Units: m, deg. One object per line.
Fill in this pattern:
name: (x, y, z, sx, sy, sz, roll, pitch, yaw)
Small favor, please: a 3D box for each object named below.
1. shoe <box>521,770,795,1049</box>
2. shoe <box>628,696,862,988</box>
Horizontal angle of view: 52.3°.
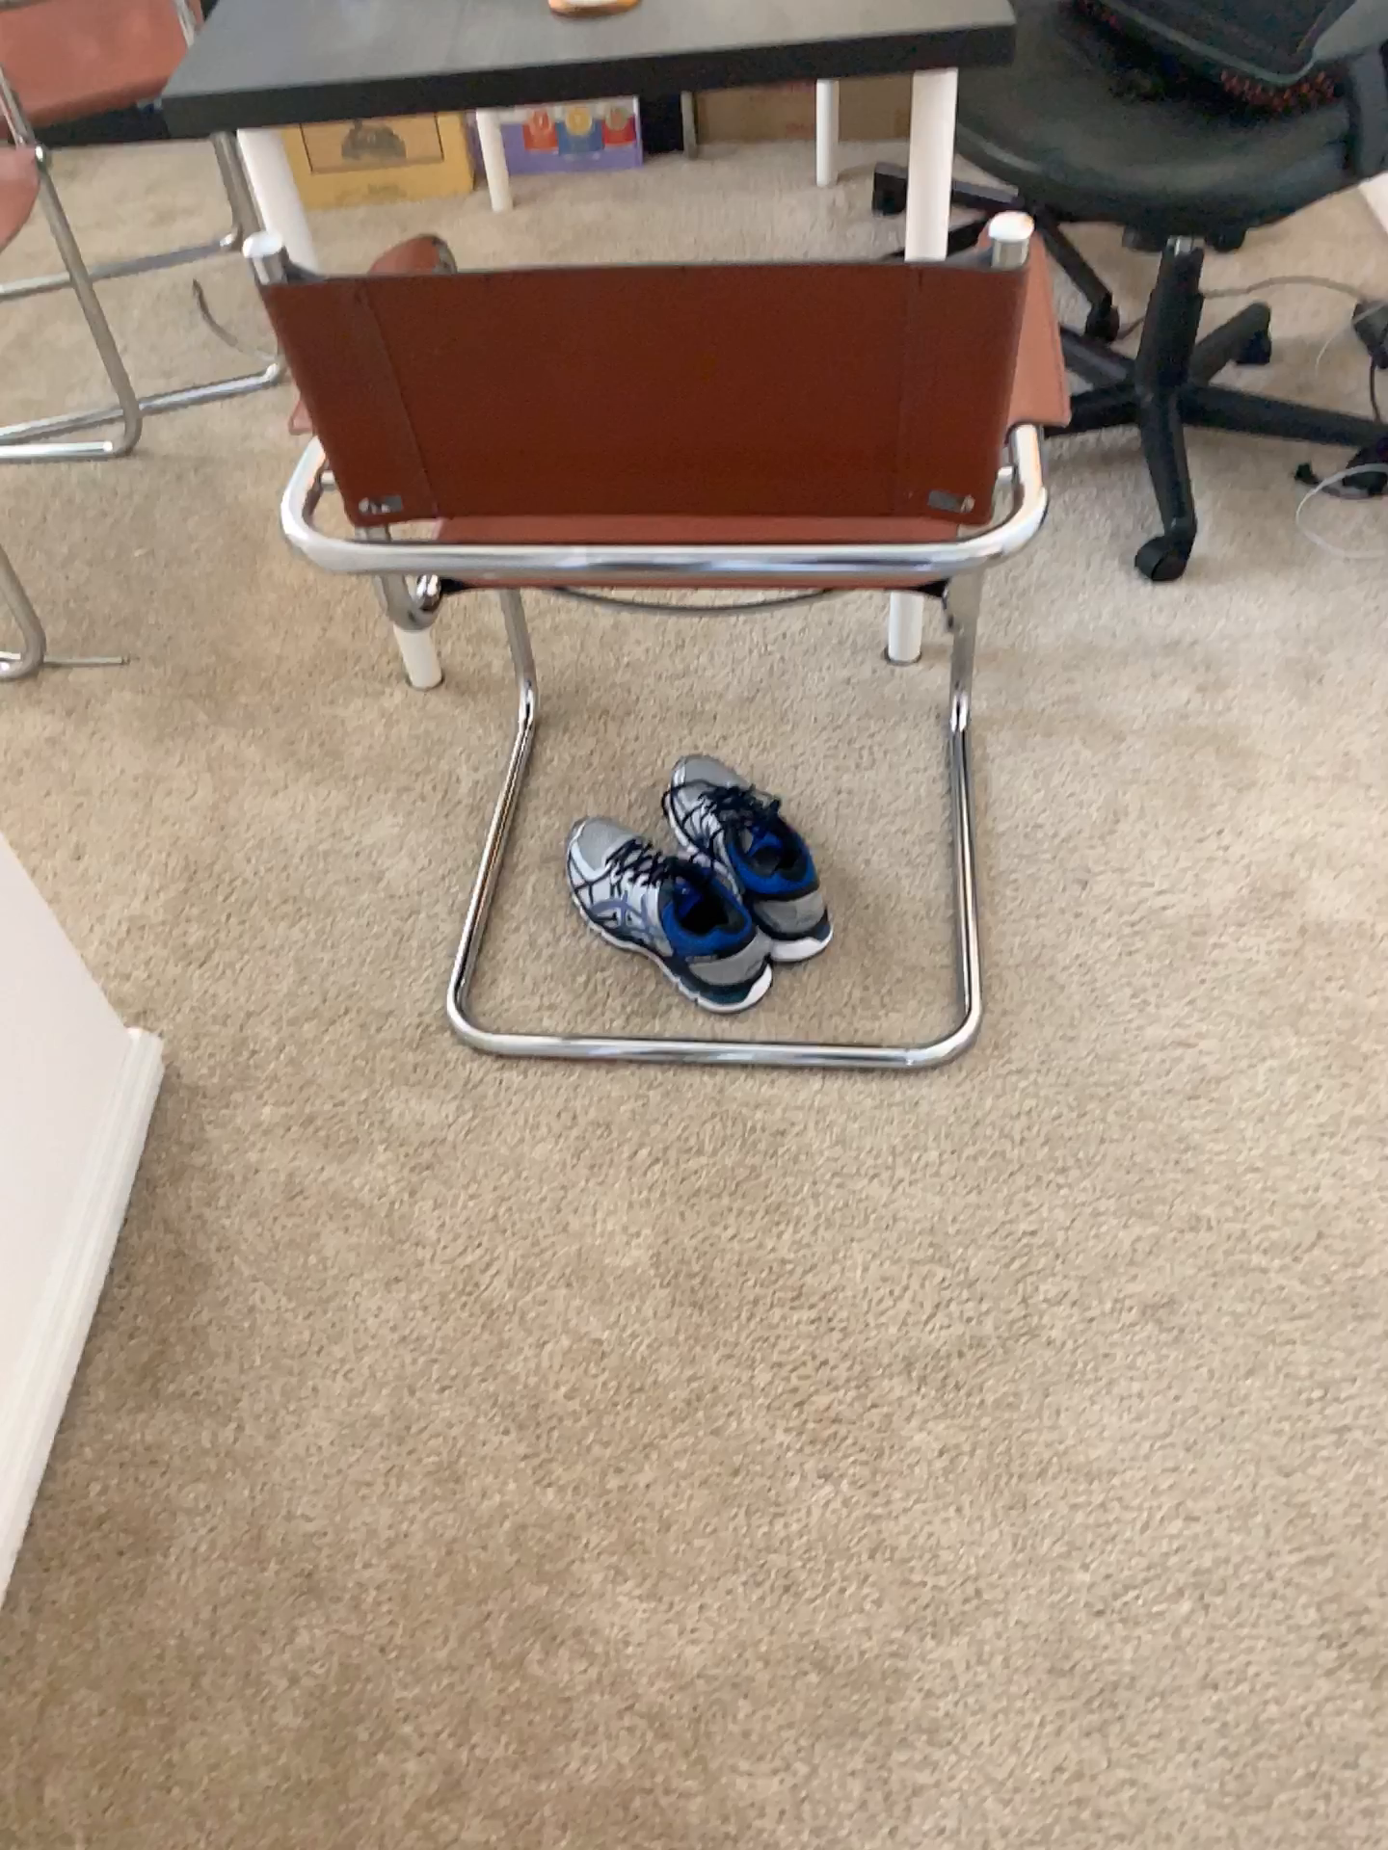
shoe: (-0.041, -0.024, 1.548, 0.130, 0.099, 0.311, -33, 55, -21)
shoe: (0.050, -0.097, 1.515, 0.130, 0.099, 0.312, -20, 51, -11)
